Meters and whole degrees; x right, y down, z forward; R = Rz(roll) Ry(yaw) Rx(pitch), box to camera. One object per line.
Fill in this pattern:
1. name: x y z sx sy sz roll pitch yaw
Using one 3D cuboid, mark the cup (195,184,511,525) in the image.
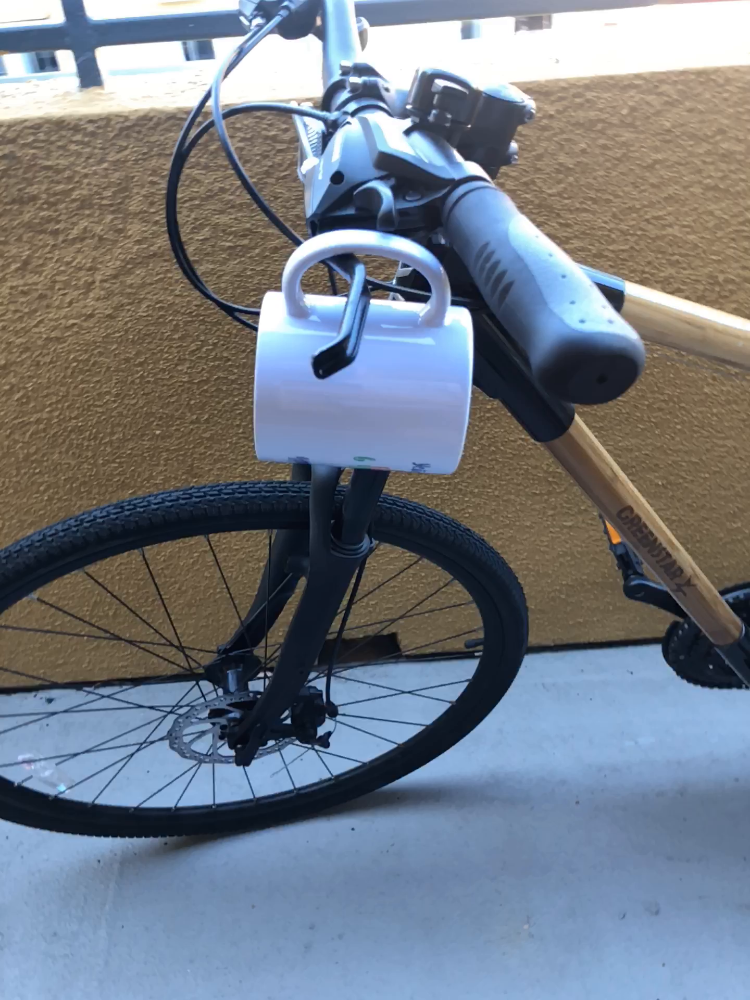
1. cup: -0.004 -0.066 0.388 0.120 0.119 0.090 4 46 4
